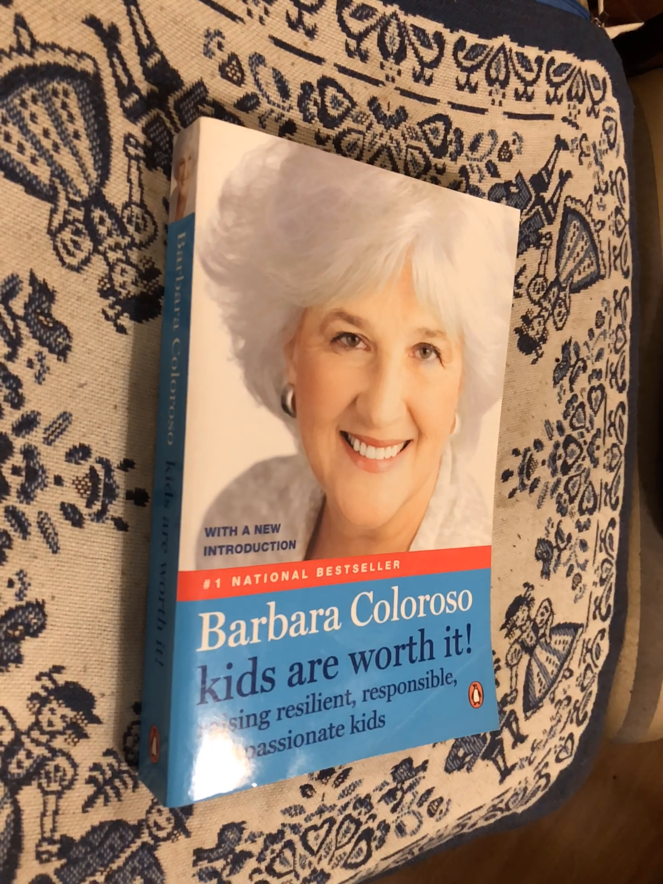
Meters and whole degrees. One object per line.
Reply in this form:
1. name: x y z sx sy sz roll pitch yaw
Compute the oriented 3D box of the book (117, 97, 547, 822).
1. book: 0.006 0.008 0.285 0.150 0.050 0.220 3 93 -36
